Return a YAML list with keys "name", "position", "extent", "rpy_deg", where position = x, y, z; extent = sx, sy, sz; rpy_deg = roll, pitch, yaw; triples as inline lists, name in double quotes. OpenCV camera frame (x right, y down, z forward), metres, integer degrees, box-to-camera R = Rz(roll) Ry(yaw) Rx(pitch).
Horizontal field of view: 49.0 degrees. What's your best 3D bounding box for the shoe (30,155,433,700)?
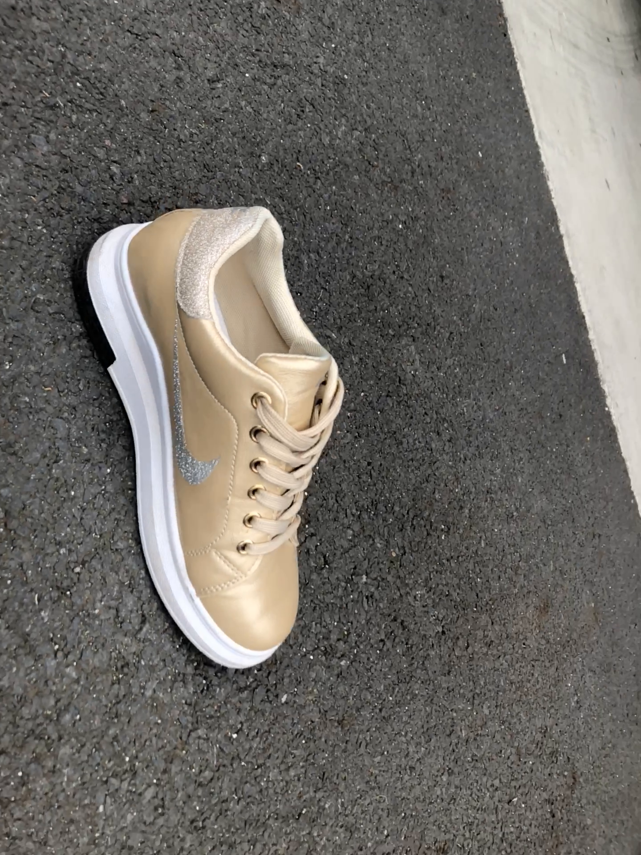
- name: "shoe"
  position: [-0.039, 0.000, 0.394]
  extent: [0.117, 0.099, 0.260]
  rpy_deg: [-28, 103, -55]
